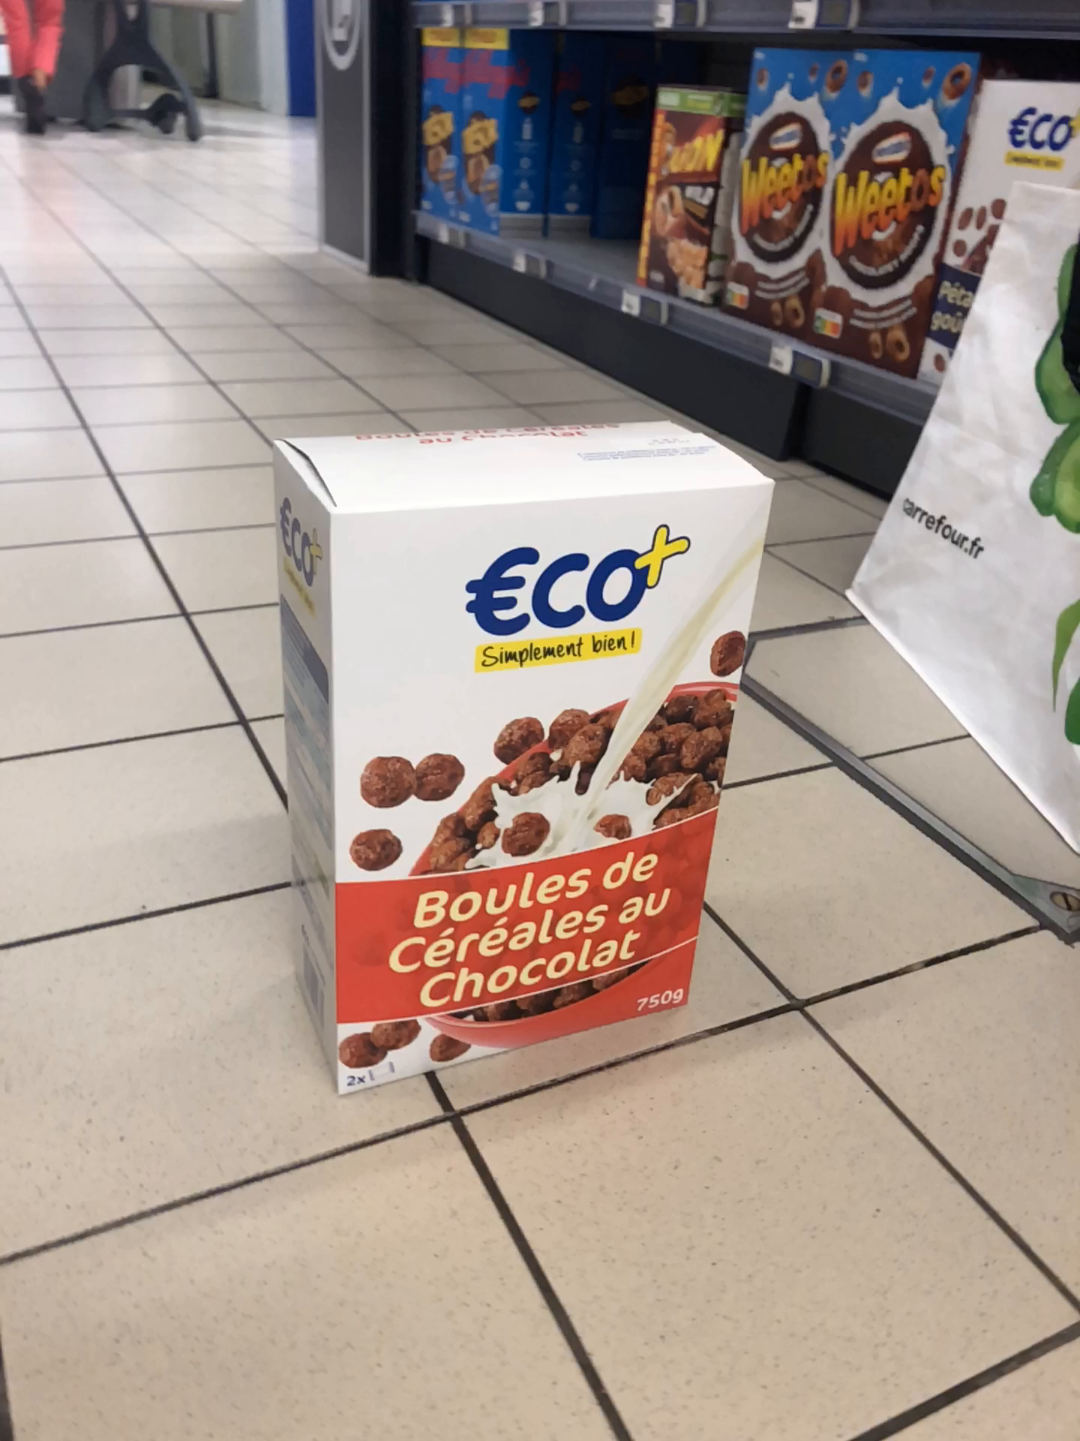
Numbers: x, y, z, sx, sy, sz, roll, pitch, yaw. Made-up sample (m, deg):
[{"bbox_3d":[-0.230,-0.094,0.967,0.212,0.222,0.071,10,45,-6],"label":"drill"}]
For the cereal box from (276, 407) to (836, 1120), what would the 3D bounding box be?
[{"bbox_3d":[-0.004,0.017,0.560,0.211,0.298,0.100,-7,29,-21],"label":"cereal box"}]
